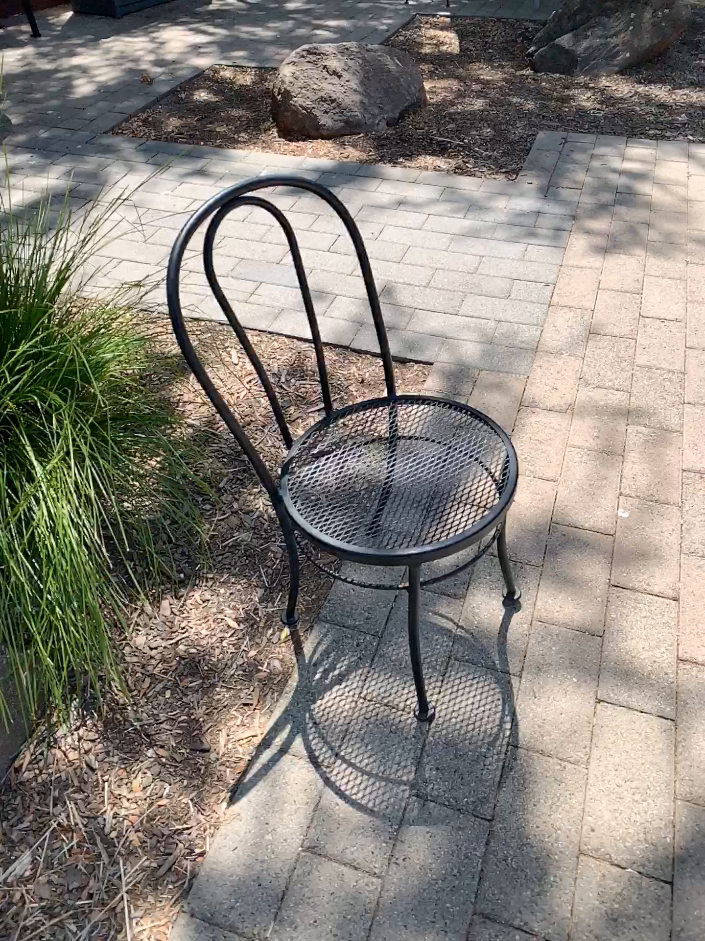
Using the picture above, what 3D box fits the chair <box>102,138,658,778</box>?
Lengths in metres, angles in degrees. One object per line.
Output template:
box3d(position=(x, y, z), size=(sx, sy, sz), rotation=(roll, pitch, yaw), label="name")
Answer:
box3d(position=(0.049, -0.018, 1.197), size=(0.543, 0.788, 0.468), rotation=(25, 49, 26), label="chair")
